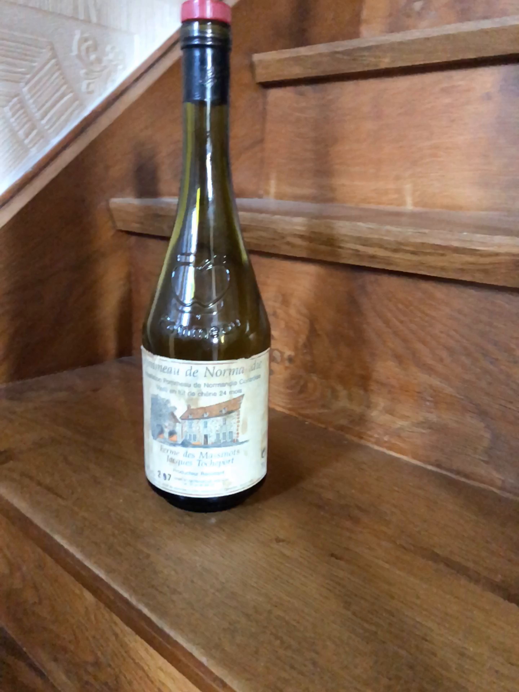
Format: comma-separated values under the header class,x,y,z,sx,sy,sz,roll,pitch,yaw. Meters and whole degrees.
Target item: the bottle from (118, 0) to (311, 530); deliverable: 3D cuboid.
class,x,y,z,sx,sy,sz,roll,pitch,yaw
bottle,-0.026,-0.049,0.371,0.090,0.309,0.090,2,15,-1
